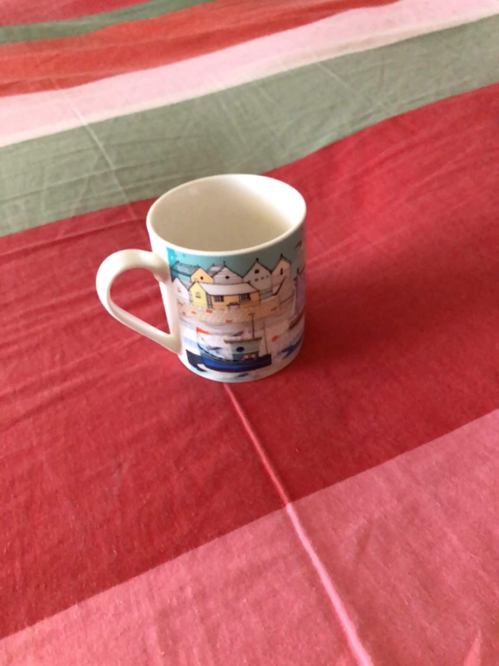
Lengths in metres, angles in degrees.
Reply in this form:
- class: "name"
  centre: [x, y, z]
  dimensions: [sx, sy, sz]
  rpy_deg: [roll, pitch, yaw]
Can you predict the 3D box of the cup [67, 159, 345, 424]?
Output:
- class: "cup"
  centre: [-0.024, -0.028, 0.314]
  dimensions: [0.120, 0.080, 0.094]
  rpy_deg: [-18, 42, -14]
